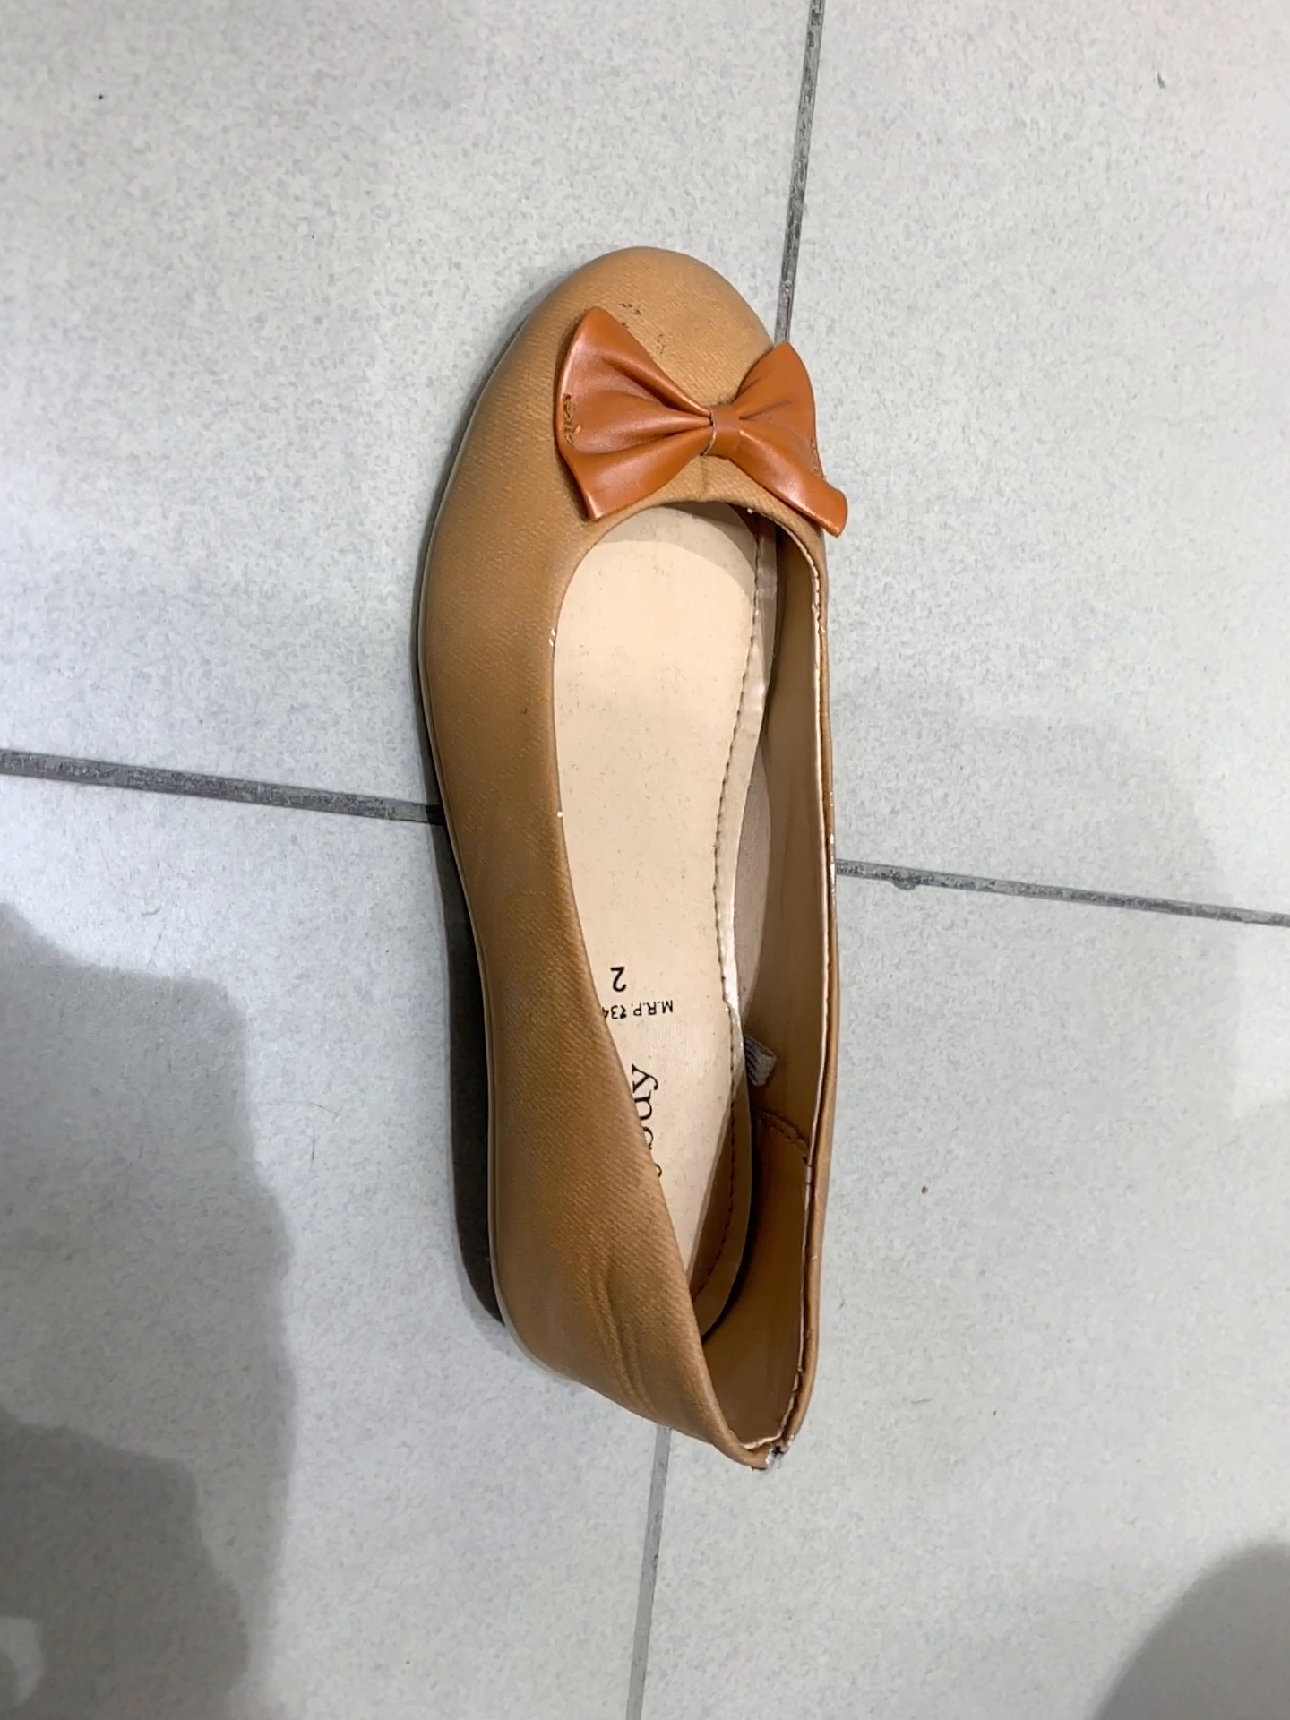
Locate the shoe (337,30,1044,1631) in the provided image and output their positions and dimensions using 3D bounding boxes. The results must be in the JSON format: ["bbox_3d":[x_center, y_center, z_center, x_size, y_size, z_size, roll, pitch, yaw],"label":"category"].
[{"bbox_3d":[0.005,-0.002,0.233,0.080,0.070,0.220,5,91,-30],"label":"shoe"}]
